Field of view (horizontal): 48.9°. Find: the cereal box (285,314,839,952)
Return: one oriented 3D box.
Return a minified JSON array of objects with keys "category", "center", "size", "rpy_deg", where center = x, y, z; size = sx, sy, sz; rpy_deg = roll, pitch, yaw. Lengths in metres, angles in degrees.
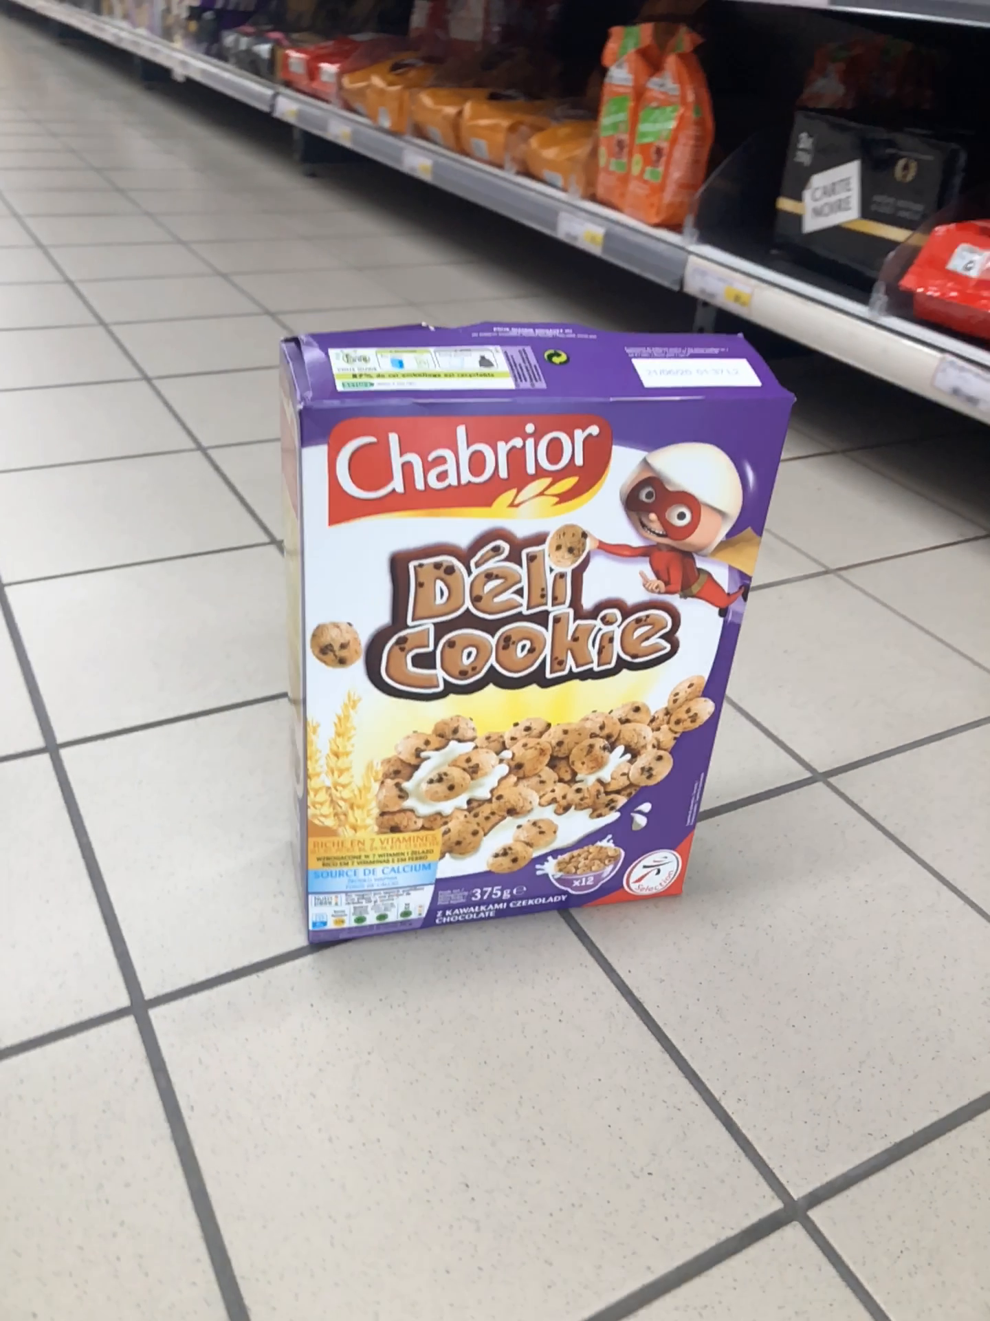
[{"category":"cereal box","center":[0.014,-0.008,0.491],"size":[0.200,0.268,0.080],"rpy_deg":[-4,33,-15]}]
